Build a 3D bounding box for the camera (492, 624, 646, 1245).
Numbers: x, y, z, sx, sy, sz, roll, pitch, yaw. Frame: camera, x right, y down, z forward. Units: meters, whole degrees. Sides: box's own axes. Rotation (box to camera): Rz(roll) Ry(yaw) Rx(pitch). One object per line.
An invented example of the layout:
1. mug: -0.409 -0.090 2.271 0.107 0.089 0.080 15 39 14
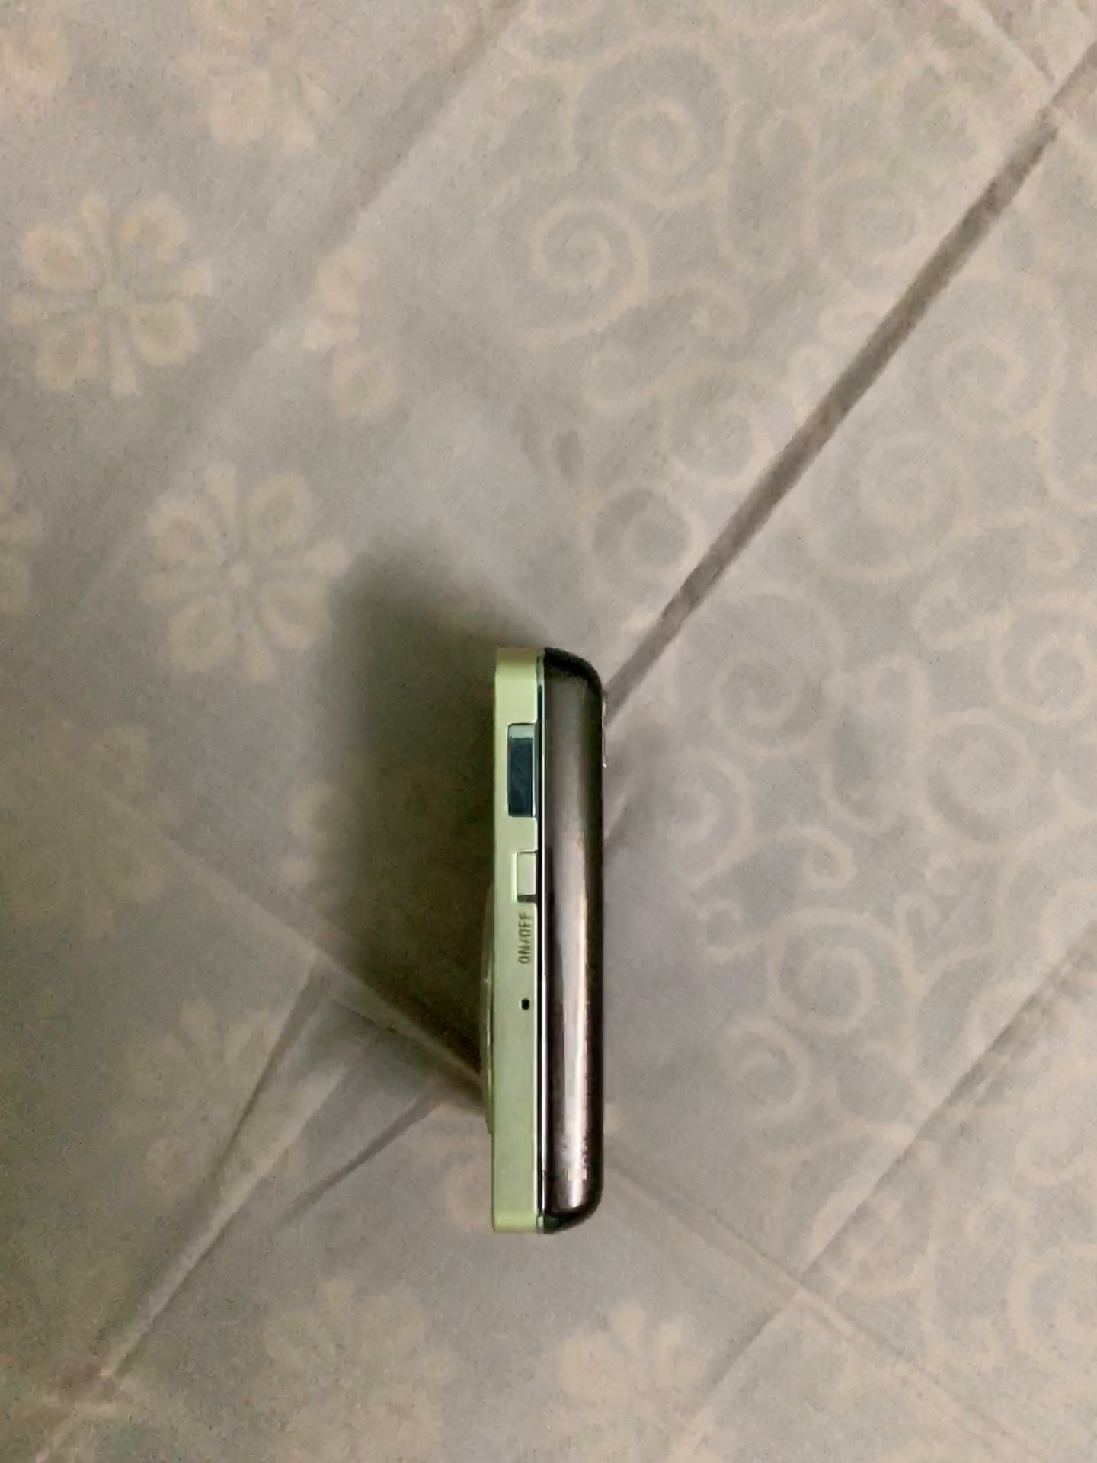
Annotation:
1. camera: 0.003 0.029 0.193 0.021 0.060 0.088 1 90 1
